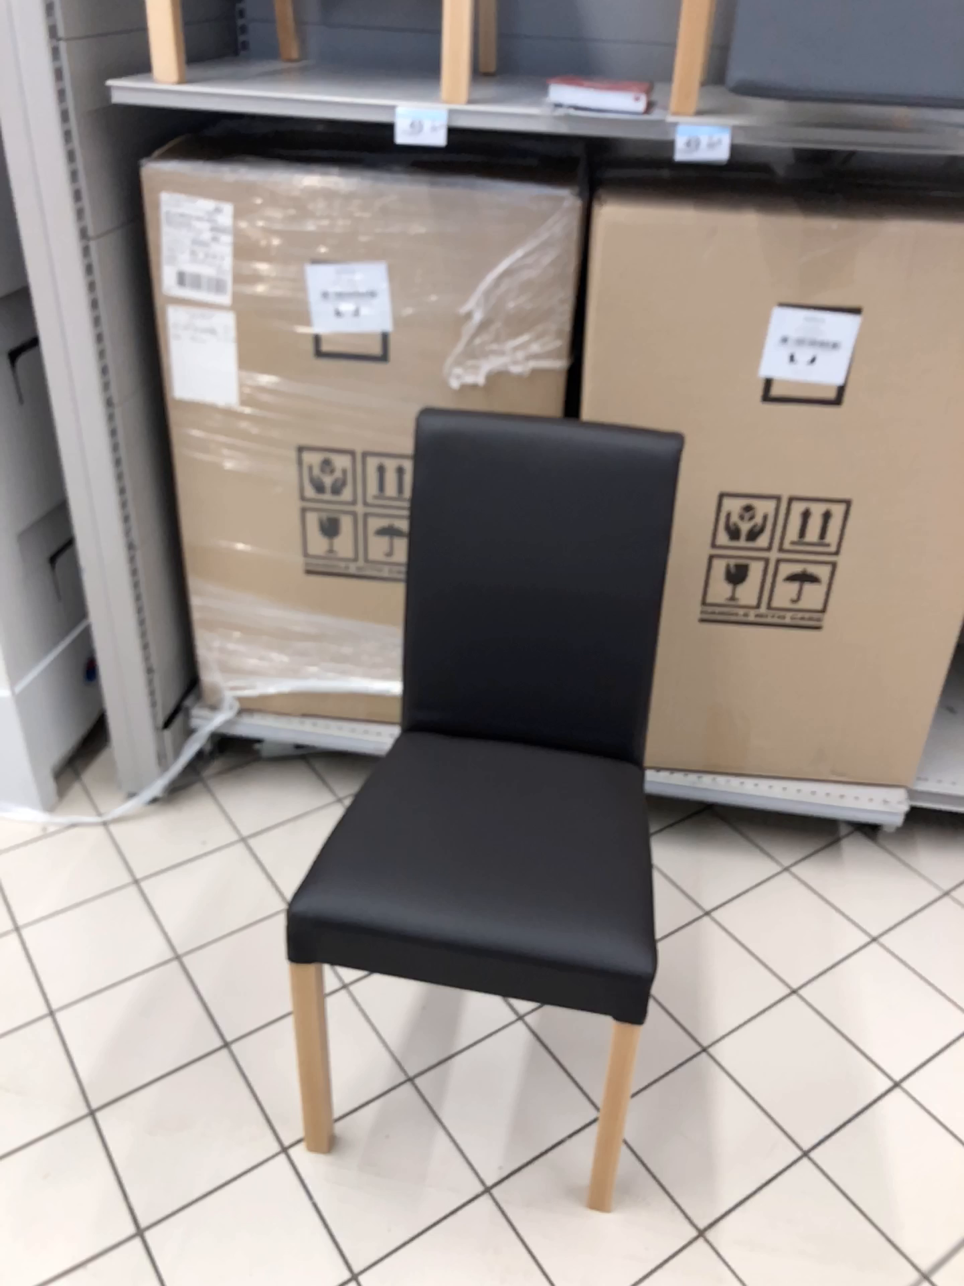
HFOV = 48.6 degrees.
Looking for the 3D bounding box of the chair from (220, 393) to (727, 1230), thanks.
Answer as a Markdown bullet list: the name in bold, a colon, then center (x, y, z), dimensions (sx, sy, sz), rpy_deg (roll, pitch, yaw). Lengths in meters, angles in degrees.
- **chair**: center (0.019, 0.203, 1.407), dimensions (0.450, 0.855, 0.594), rpy_deg (7, 32, 7)
